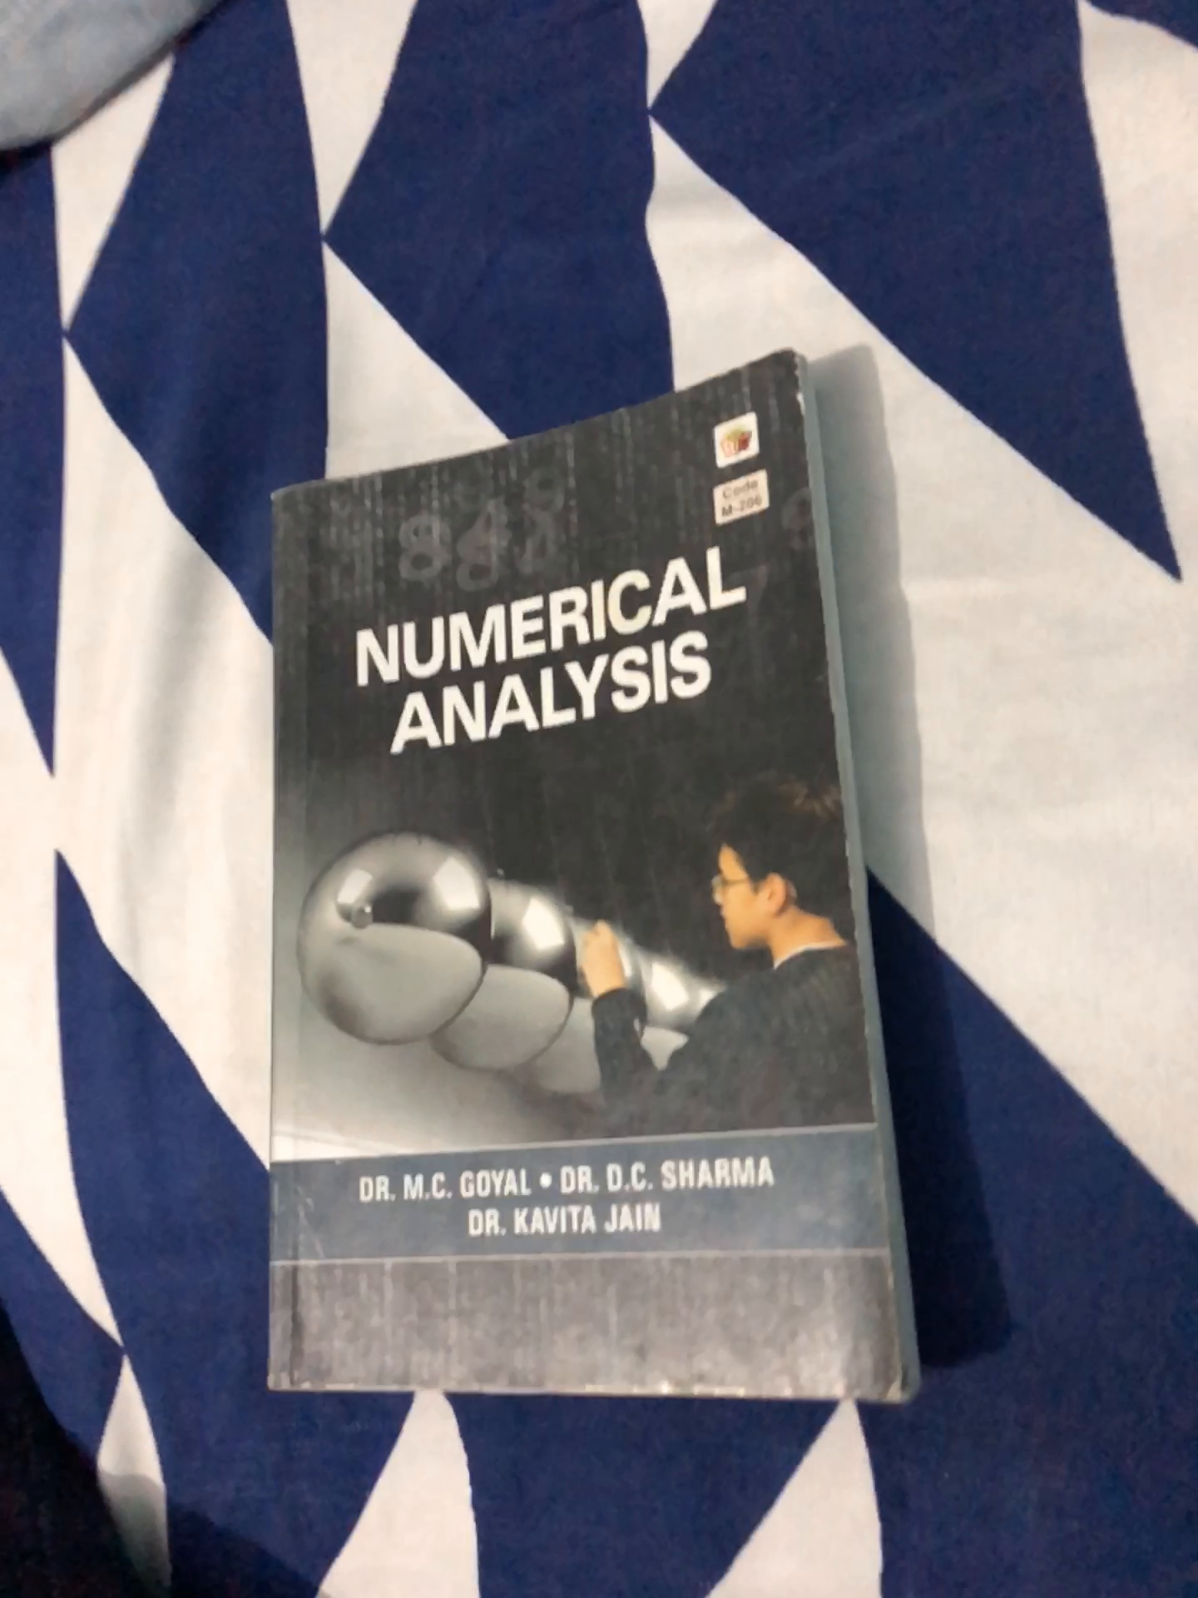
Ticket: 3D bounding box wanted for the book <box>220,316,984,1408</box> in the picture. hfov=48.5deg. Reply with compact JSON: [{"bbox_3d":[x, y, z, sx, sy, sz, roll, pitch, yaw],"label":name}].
[{"bbox_3d":[-0.009,0.015,0.267,0.140,0.030,0.190,-9,76,22],"label":"book"}]
